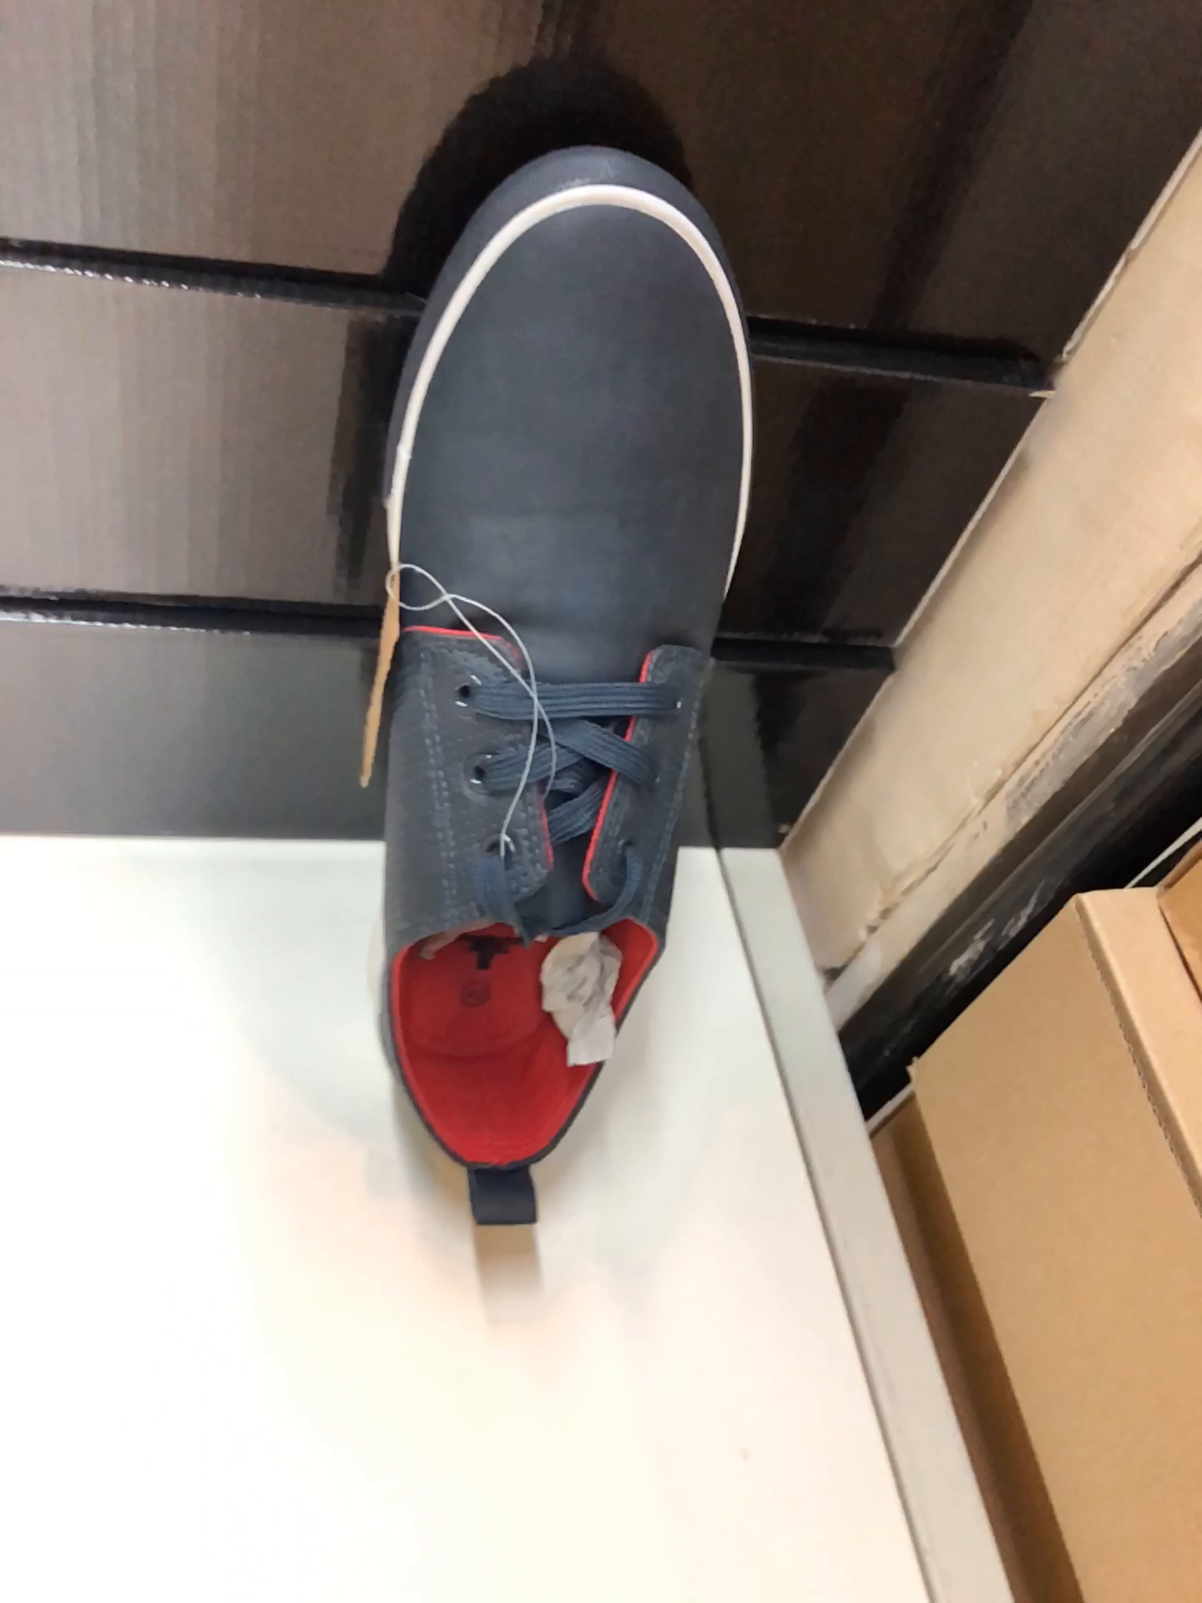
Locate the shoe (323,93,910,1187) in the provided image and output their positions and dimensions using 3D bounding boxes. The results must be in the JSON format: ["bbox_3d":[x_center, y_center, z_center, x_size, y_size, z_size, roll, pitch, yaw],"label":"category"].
[{"bbox_3d":[-0.015,-0.032,0.362,0.103,0.268,0.101,3,28,-12],"label":"shoe"}]
